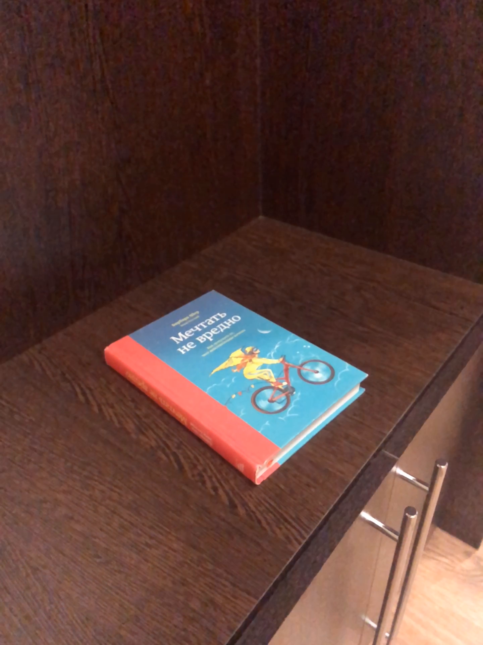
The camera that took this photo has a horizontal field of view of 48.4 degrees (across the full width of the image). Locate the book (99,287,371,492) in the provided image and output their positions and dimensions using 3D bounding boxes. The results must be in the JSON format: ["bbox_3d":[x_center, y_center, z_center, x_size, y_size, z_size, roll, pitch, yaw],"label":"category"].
[{"bbox_3d":[-0.011,0.045,0.502,0.211,0.025,0.146,30,46,35],"label":"book"}]
